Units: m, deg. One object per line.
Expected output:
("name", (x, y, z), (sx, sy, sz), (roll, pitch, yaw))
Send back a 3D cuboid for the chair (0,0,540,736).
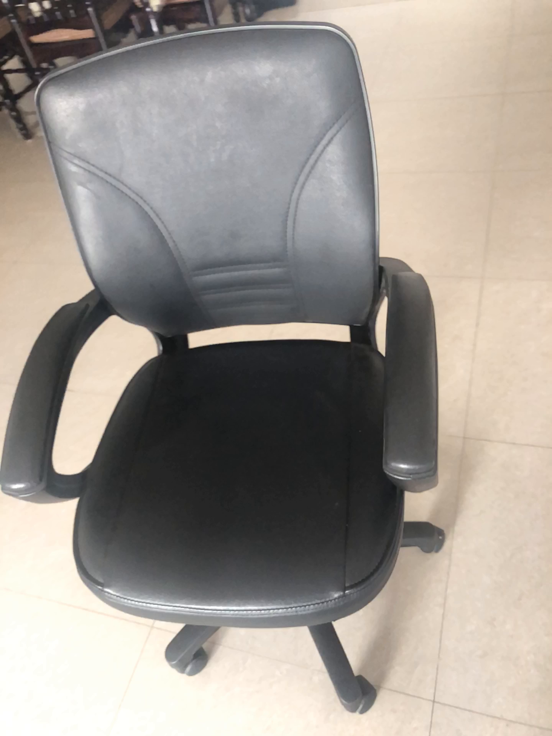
("chair", (-0.070, 0.082, 0.951), (0.701, 0.953, 0.634), (-2, 47, 13))
